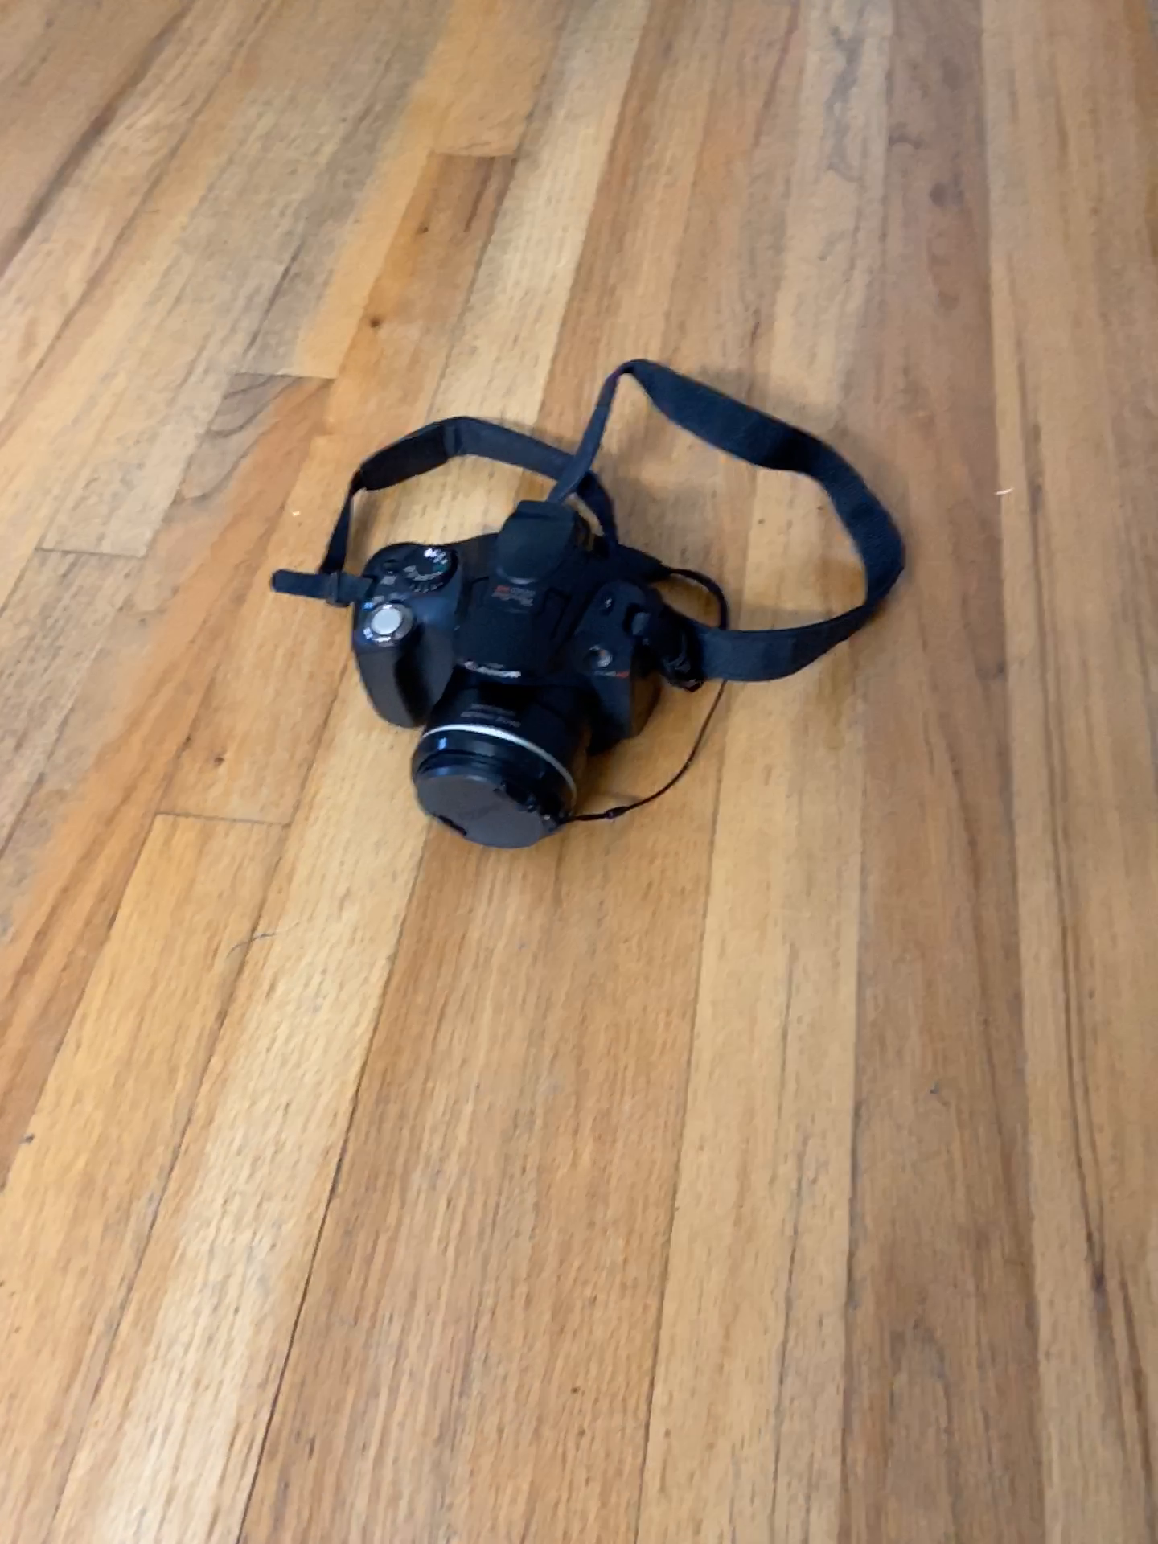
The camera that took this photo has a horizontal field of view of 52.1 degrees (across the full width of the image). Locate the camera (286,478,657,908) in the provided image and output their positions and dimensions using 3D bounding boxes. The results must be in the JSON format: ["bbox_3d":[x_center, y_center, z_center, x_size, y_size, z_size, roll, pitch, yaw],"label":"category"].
[{"bbox_3d":[-0.033,-0.031,0.482,0.110,0.110,0.120,8,58,9],"label":"camera"}]
